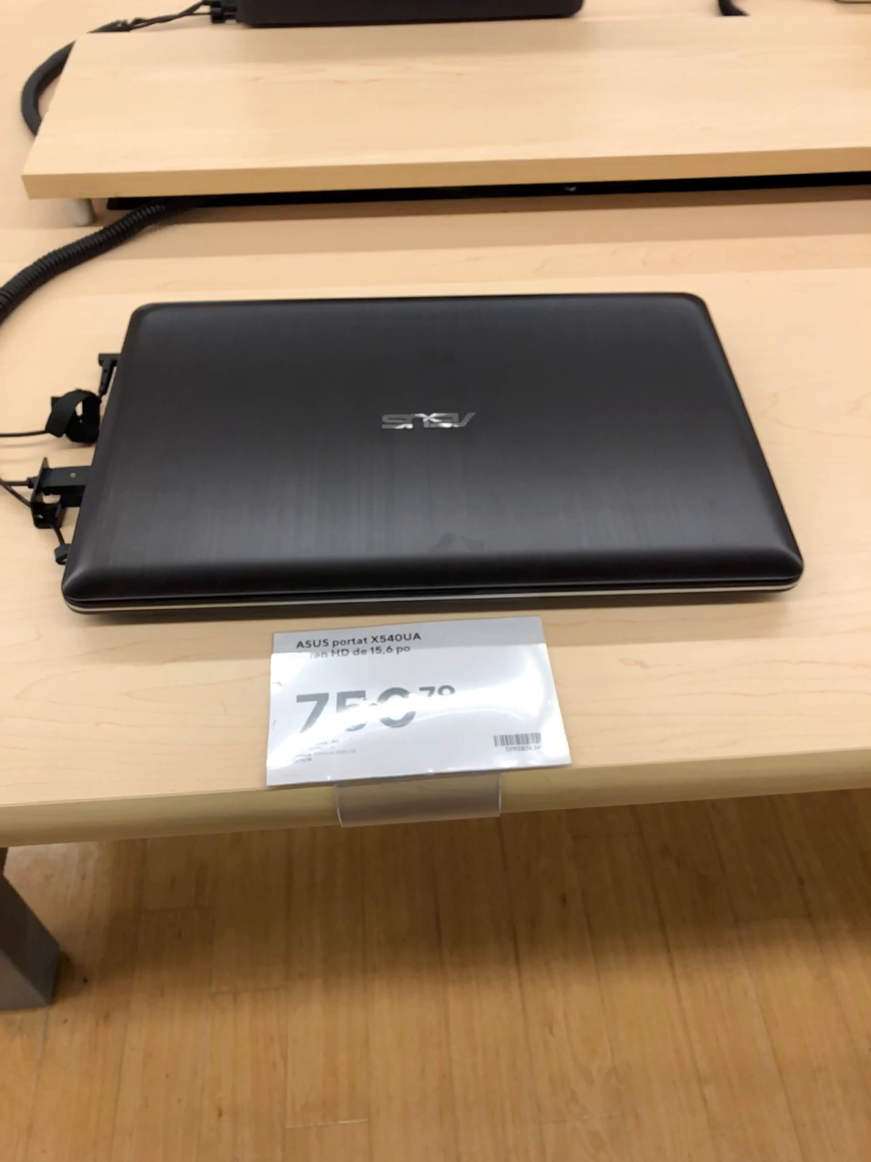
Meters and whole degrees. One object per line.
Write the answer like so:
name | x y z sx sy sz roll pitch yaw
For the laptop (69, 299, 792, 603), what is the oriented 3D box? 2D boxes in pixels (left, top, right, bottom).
laptop | -0.004 -0.088 0.565 0.369 0.010 0.228 -2 52 -2
